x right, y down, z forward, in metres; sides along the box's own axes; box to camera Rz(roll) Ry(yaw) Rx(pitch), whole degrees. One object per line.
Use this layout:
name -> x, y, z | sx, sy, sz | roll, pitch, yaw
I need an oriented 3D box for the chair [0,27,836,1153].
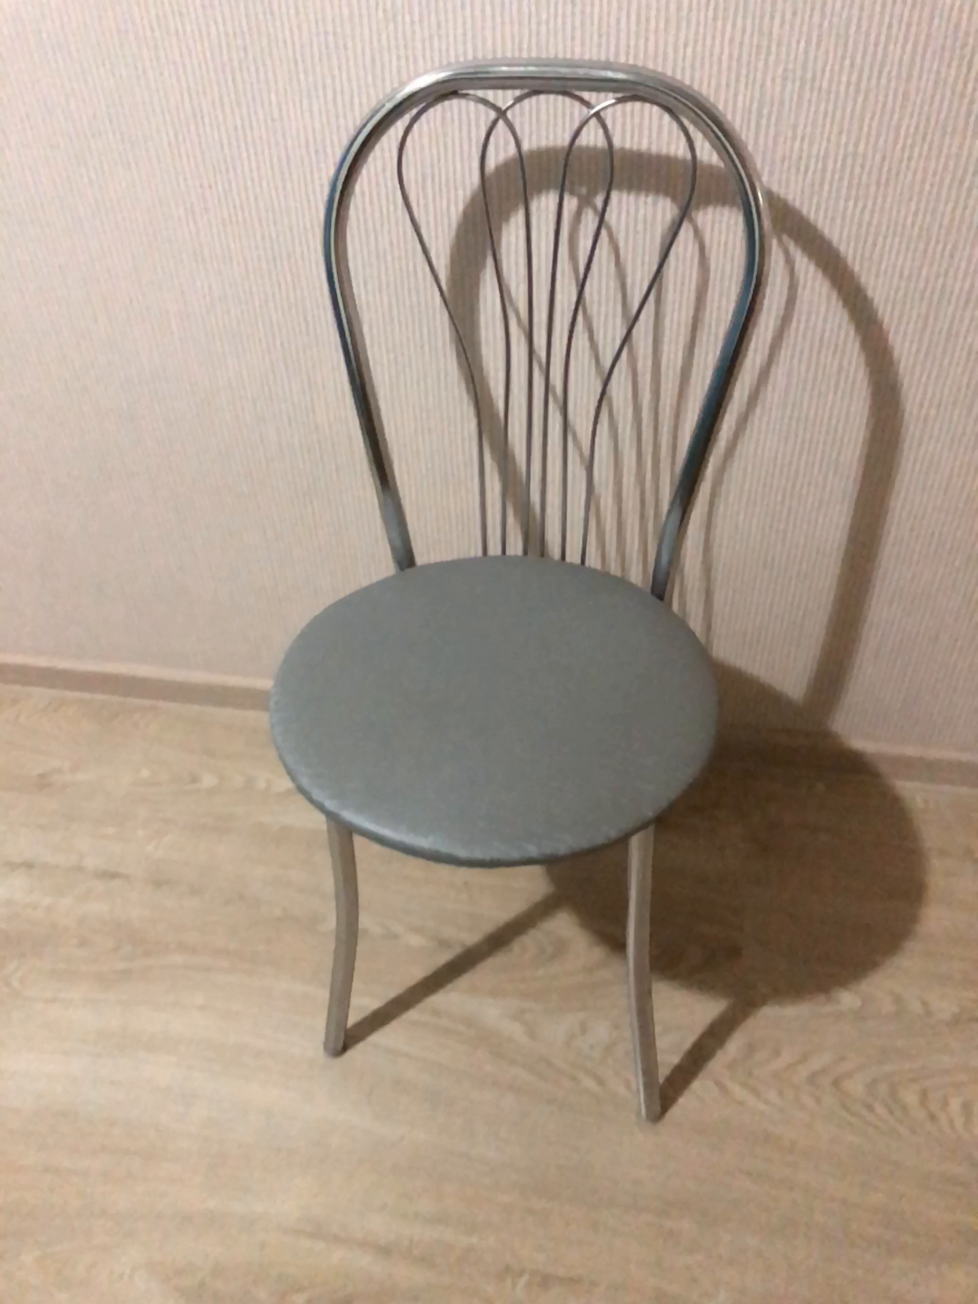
chair -> 0.019, -0.020, 0.938 | 0.400, 0.824, 0.473 | 8, 43, 12
